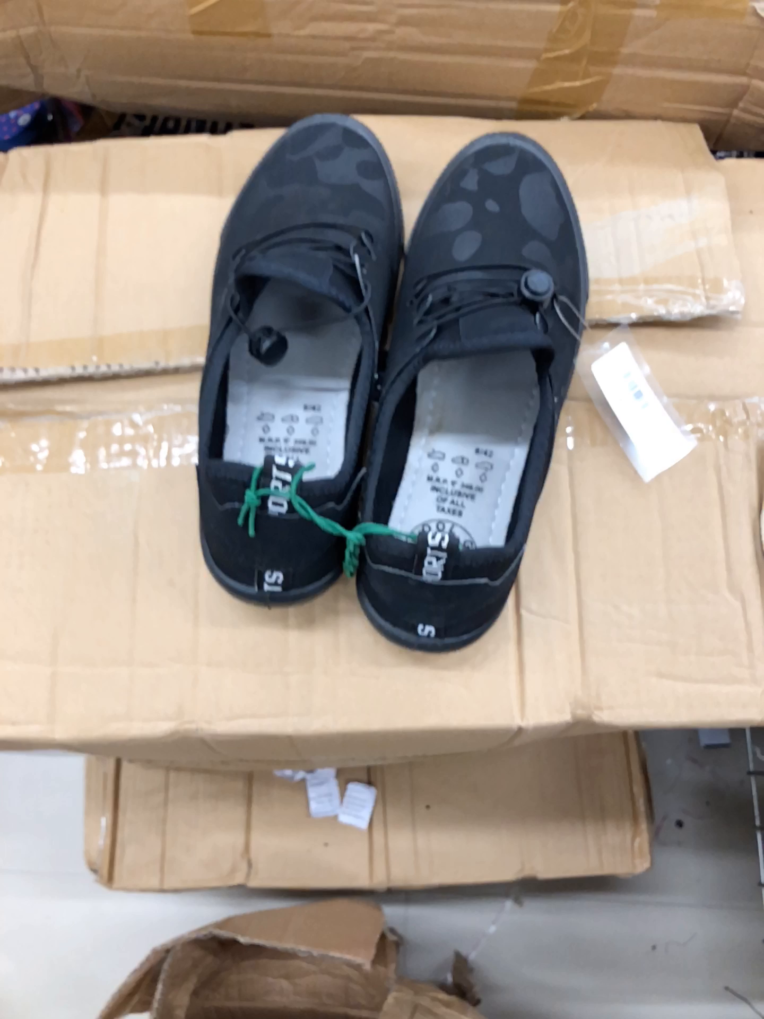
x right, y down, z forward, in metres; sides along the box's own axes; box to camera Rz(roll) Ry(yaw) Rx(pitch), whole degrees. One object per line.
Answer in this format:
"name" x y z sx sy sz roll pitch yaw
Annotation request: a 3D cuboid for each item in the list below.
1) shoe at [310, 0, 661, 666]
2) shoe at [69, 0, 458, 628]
"shoe" 0.053 -0.098 0.420 0.120 0.130 0.321 7 73 2
"shoe" -0.040 -0.112 0.421 0.120 0.130 0.311 6 73 1
